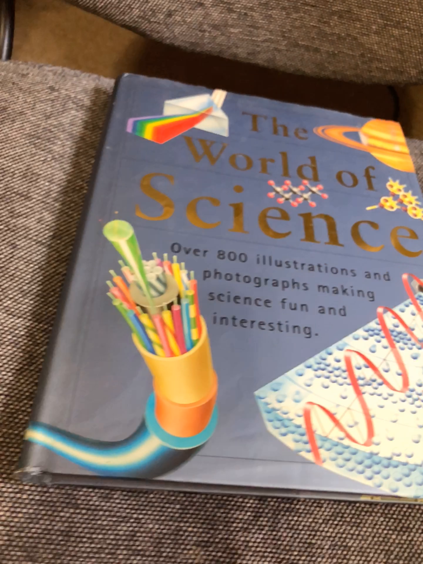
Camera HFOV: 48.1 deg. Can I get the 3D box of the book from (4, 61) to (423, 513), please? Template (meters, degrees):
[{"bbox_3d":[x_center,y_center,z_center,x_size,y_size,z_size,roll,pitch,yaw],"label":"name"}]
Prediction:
[{"bbox_3d":[0.028,-0.019,0.285,0.221,0.030,0.277,6,56,-9],"label":"book"}]
